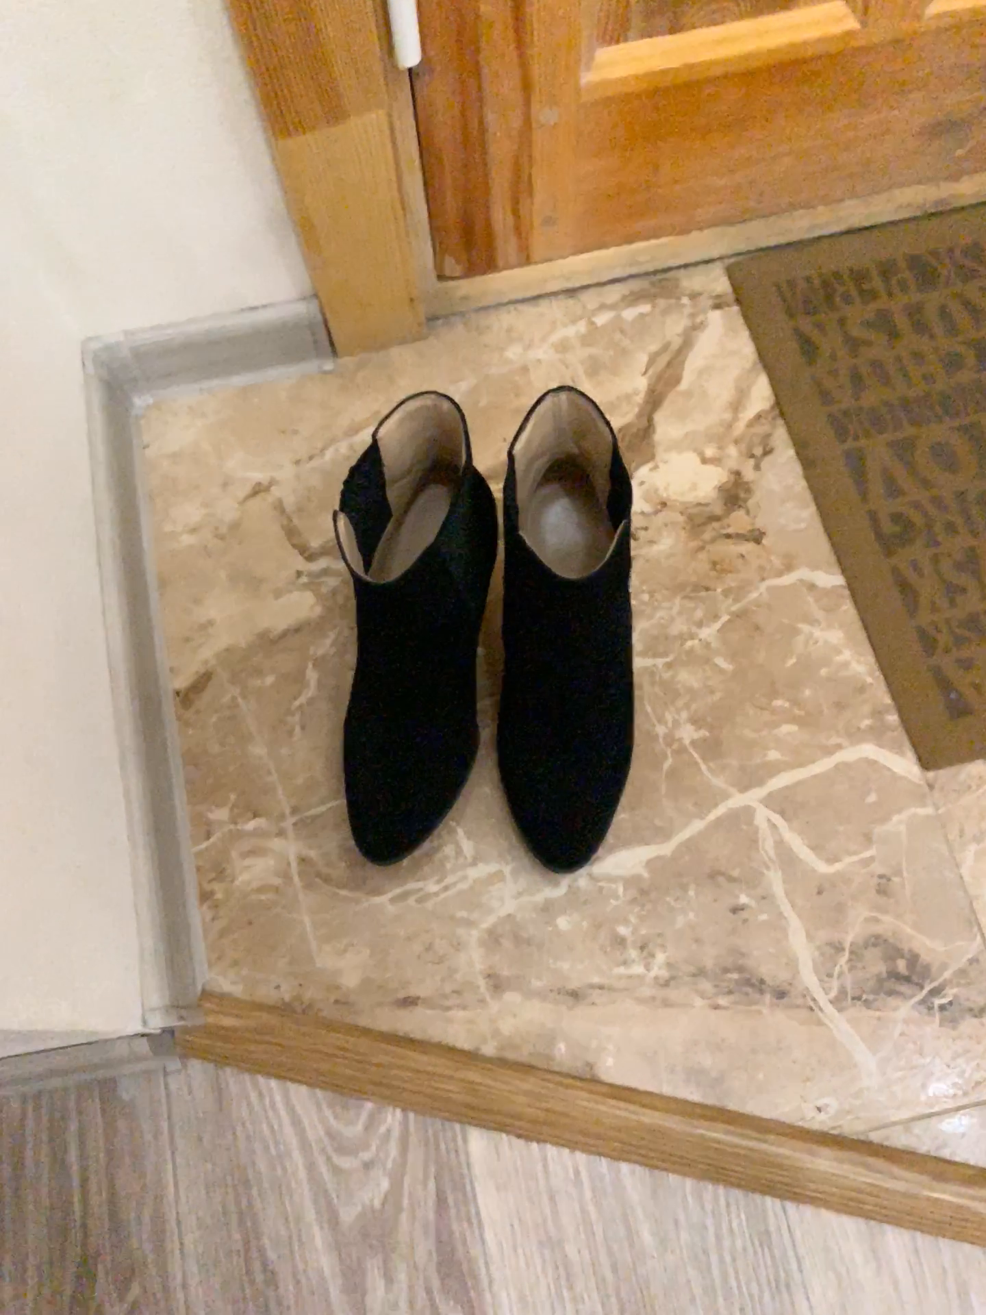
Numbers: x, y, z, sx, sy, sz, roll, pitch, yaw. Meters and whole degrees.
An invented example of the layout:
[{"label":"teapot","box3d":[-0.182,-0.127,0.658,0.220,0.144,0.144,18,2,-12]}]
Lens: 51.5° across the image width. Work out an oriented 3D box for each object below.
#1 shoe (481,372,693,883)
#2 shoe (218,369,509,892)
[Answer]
[{"label":"shoe","box3d":[0.043,-0.002,0.551,0.086,0.199,0.215,-1,69,2]},{"label":"shoe","box3d":[-0.052,-0.001,0.550,0.086,0.199,0.215,7,70,5]}]
